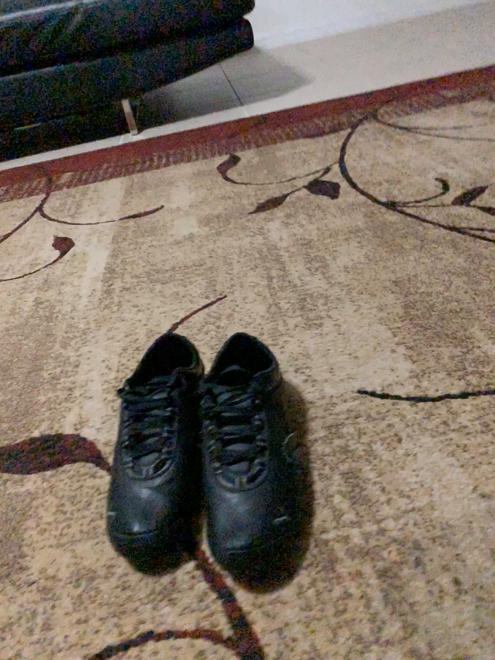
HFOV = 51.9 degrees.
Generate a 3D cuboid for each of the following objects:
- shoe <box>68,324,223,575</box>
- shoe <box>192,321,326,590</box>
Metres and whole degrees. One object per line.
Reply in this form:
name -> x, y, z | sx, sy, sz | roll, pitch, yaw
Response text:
shoe -> -0.083, 0.100, 0.499 | 0.086, 0.073, 0.245 | -7, 35, 7
shoe -> 0.006, 0.097, 0.474 | 0.088, 0.073, 0.245 | -9, 35, 4
